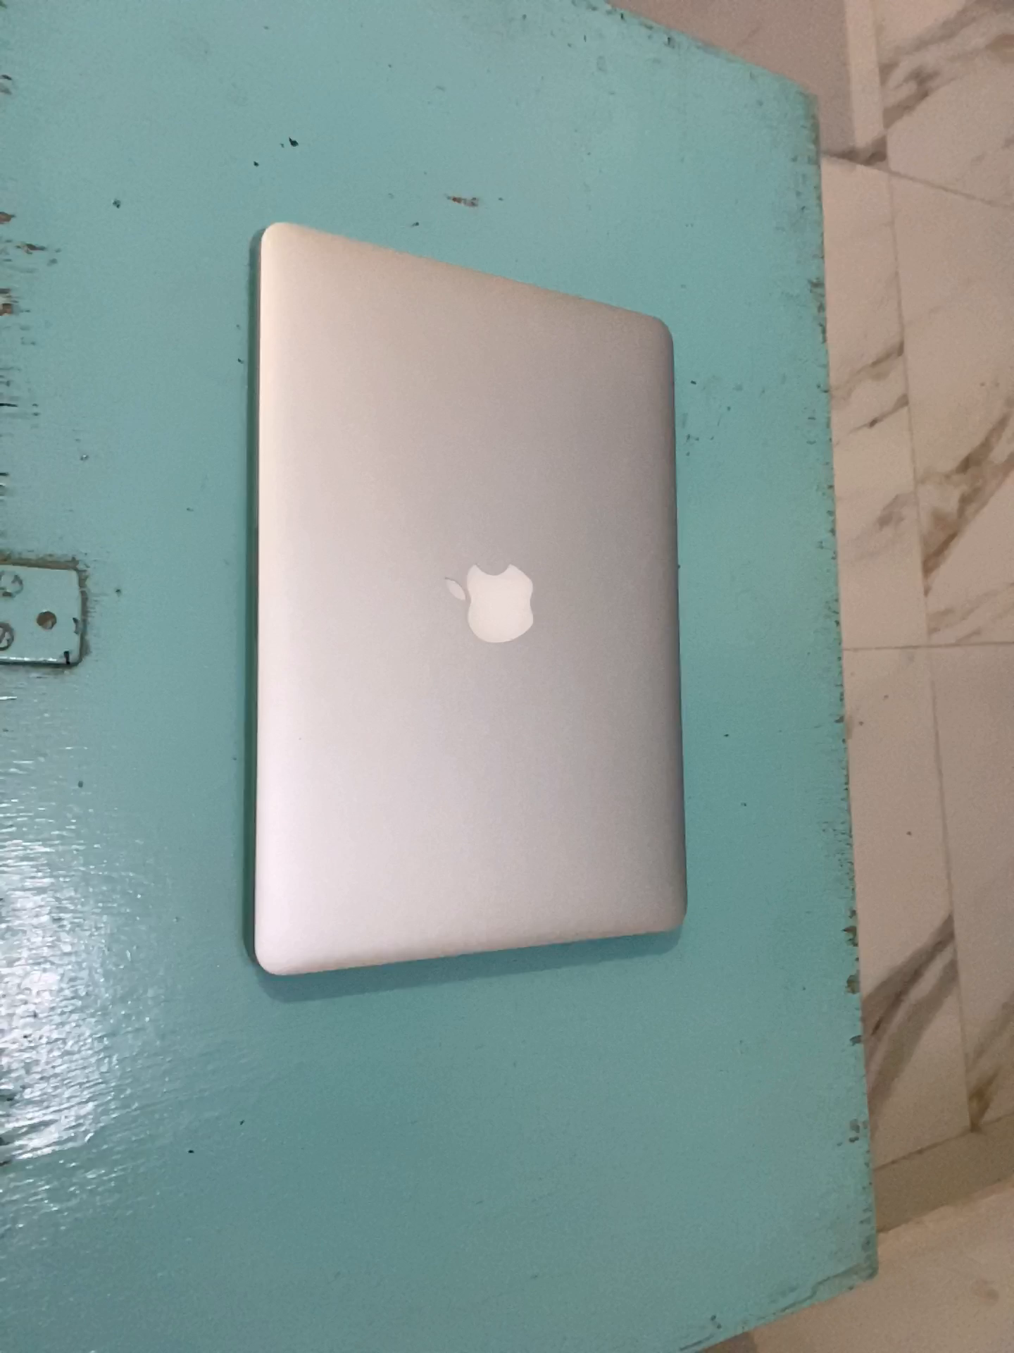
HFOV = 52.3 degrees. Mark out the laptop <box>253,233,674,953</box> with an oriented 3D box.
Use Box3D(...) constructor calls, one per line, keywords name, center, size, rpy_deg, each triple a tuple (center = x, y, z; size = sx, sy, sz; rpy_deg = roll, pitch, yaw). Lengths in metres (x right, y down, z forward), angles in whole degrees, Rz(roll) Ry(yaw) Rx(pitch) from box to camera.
Box3D(name="laptop", center=(-0.011, -0.033, 0.474), size=(0.210, 0.007, 0.291), rpy_deg=(1, 86, -32))
